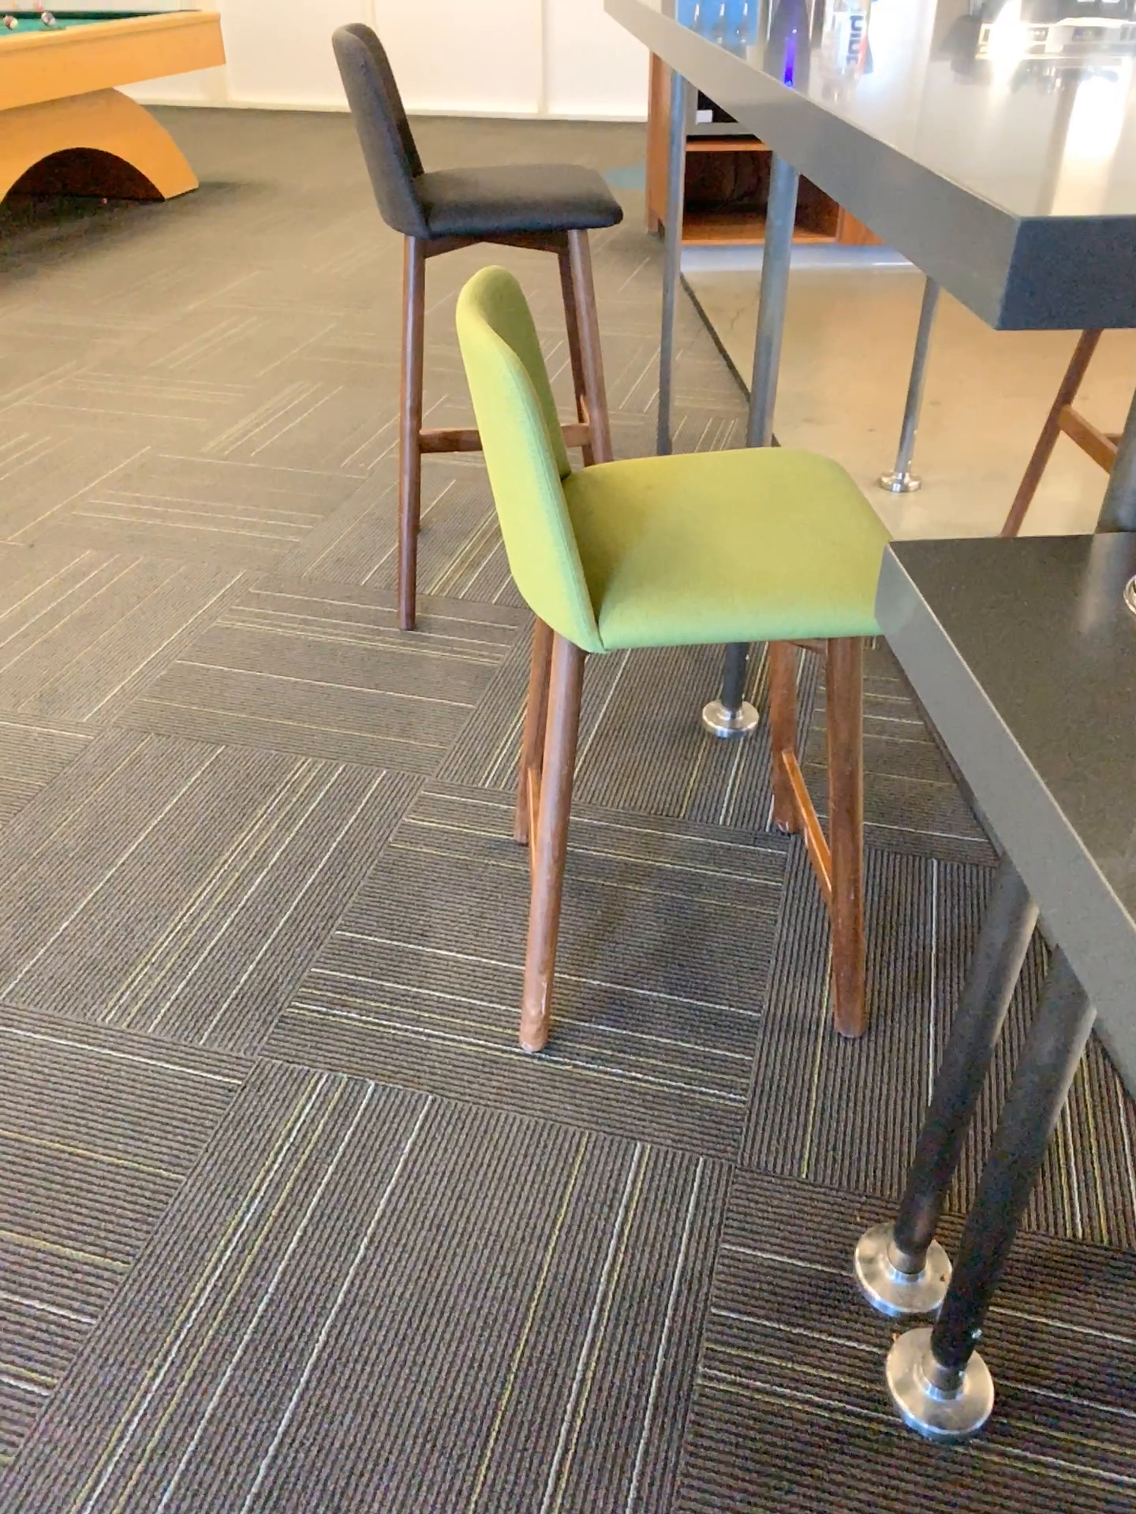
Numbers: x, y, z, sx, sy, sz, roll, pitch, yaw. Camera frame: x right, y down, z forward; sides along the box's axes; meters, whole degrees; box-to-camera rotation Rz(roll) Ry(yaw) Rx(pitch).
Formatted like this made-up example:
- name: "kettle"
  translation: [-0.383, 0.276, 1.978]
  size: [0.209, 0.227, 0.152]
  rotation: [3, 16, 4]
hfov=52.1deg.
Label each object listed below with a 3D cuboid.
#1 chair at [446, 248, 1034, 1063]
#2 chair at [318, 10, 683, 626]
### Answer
- name: "chair"
  translation: [0.132, -0.101, 1.360]
  size: [0.480, 0.825, 0.443]
  rotation: [-2, 36, -2]
- name: "chair"
  translation: [-0.124, -0.855, 2.261]
  size: [0.540, 0.974, 0.644]
  rotation: [-3, 36, -4]
